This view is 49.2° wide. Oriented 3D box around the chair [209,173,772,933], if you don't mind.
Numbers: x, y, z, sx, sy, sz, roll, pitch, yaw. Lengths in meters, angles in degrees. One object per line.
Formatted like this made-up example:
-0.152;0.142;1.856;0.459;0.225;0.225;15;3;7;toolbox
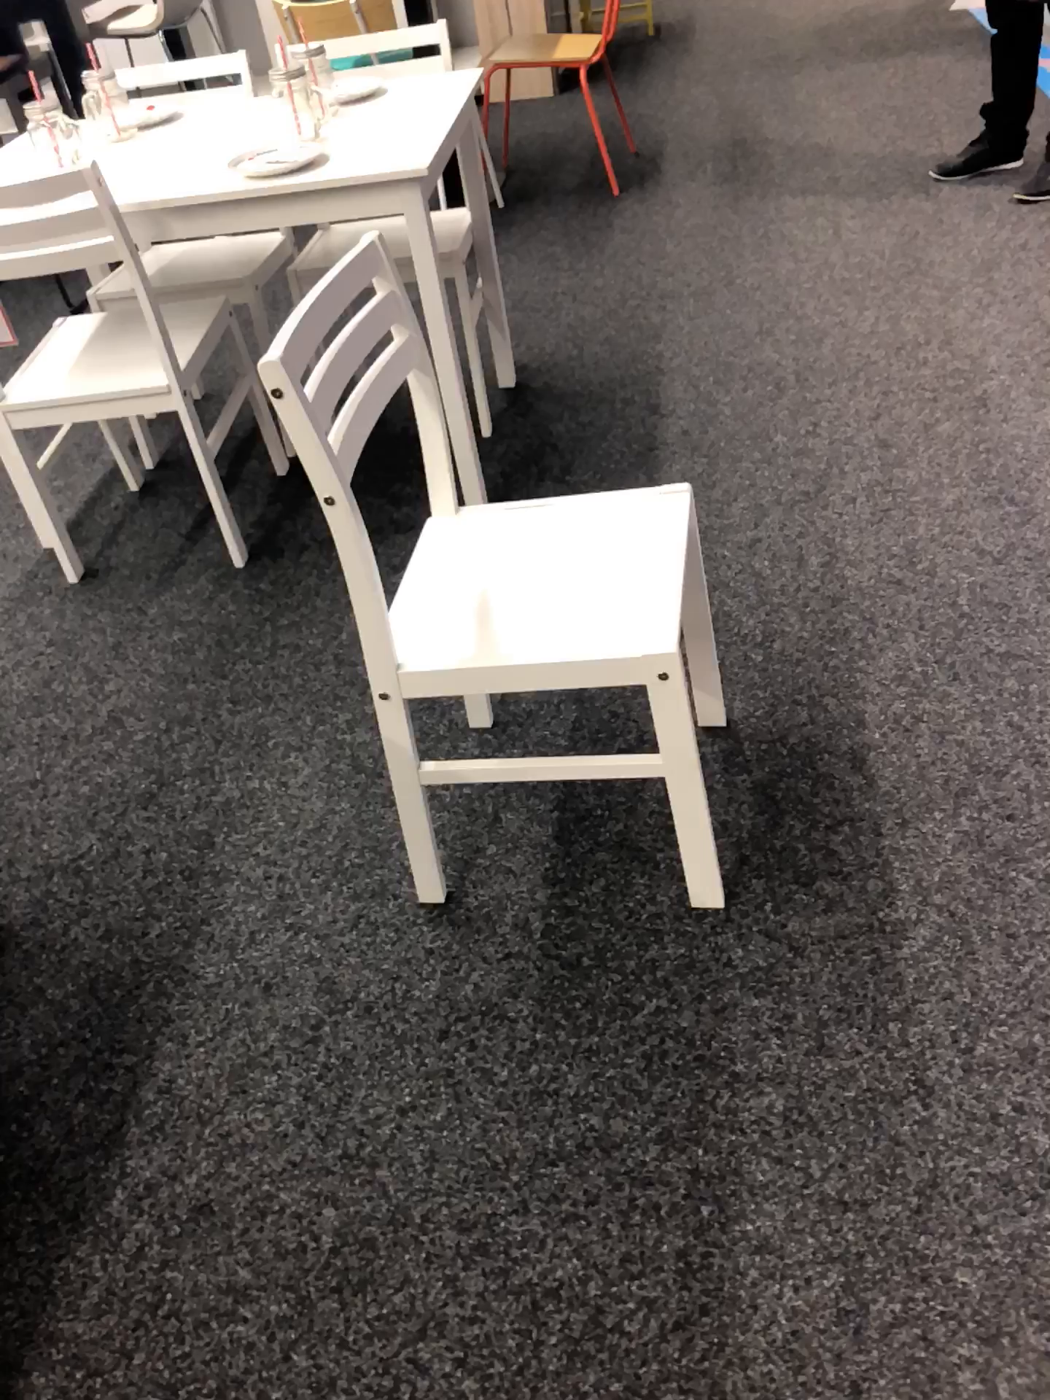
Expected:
0.042;-0.158;1.443;0.500;0.766;0.503;-2;39;11;chair
